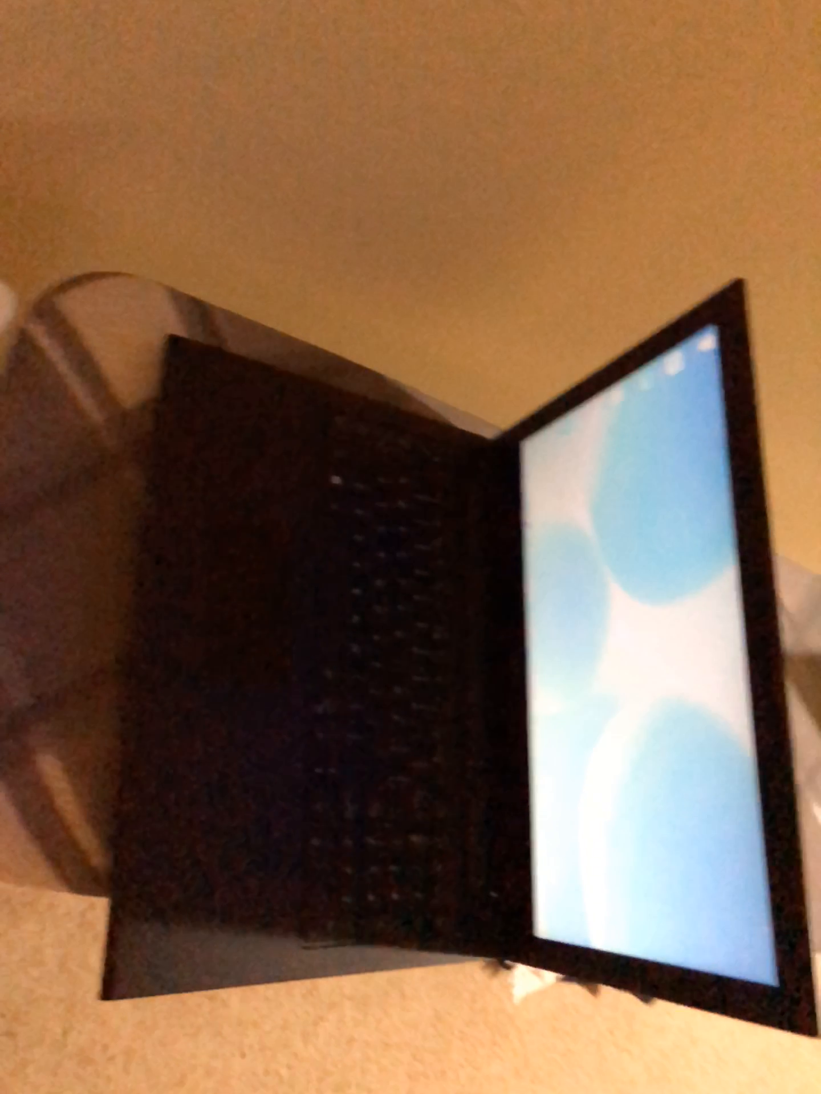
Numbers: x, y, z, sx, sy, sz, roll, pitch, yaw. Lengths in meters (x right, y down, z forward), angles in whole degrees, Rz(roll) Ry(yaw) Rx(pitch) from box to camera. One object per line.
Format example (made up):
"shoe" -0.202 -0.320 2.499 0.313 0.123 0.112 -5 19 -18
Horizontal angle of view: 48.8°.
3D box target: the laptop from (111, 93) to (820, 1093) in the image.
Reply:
"laptop" 0.026 0.040 0.461 0.248 0.231 0.352 12 70 -34
